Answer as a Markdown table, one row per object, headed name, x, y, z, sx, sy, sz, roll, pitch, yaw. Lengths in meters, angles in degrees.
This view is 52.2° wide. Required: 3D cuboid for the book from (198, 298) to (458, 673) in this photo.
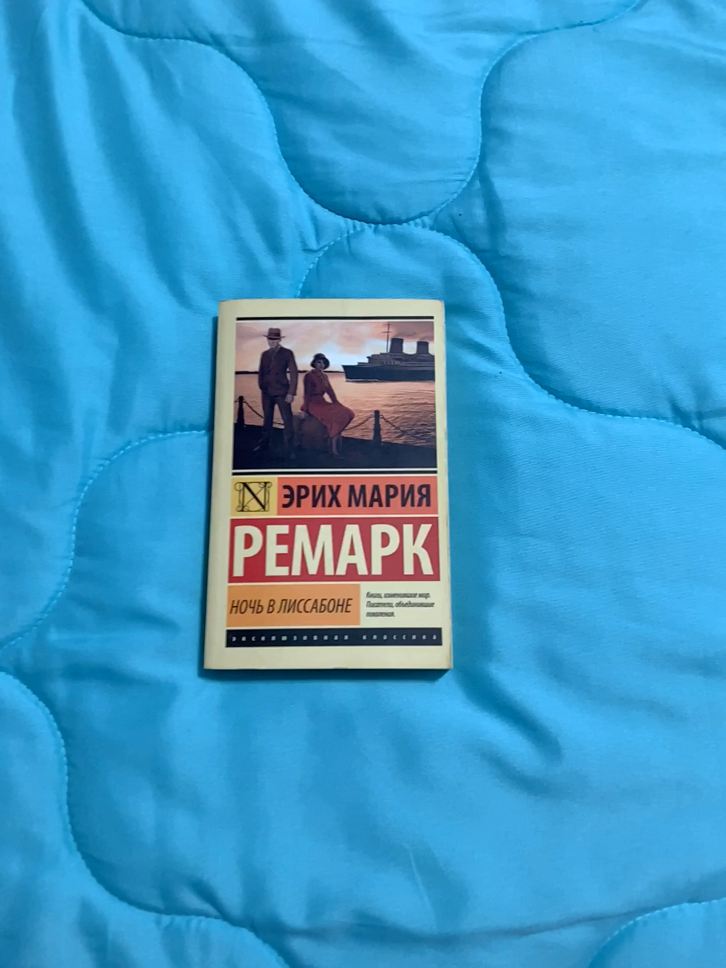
| name | x | y | z | sx | sy | sz | roll | pitch | yaw |
| --- | --- | --- | --- | --- | --- | --- | --- | --- | --- |
| book | -0.016 | -0.002 | 0.345 | 0.112 | 0.020 | 0.172 | 0 | 80 | -1 |
